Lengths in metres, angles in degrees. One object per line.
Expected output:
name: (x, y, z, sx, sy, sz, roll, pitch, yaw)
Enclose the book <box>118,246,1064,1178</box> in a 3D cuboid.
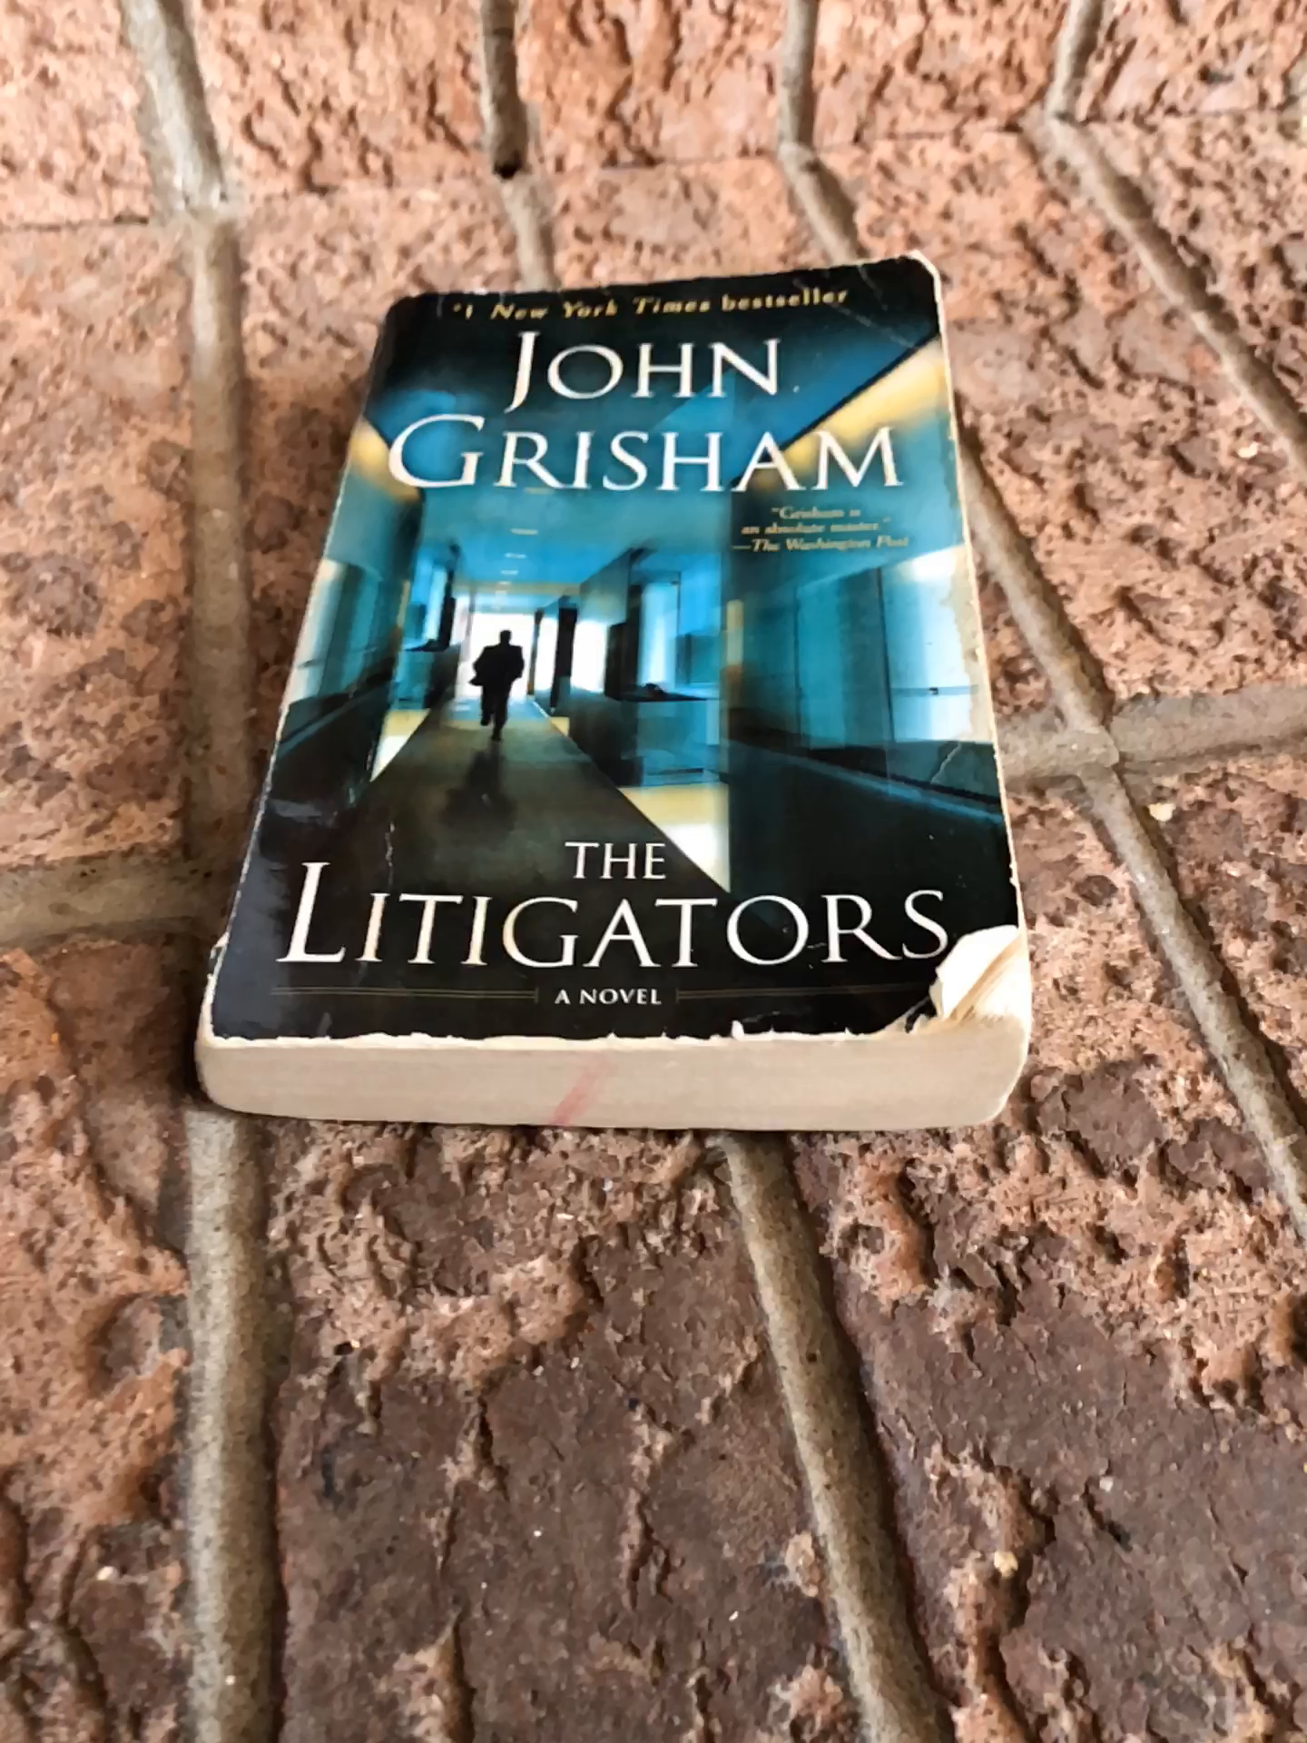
book: (-0.004, -0.044, 0.278, 0.135, 0.033, 0.200, 0, 55, 6)
